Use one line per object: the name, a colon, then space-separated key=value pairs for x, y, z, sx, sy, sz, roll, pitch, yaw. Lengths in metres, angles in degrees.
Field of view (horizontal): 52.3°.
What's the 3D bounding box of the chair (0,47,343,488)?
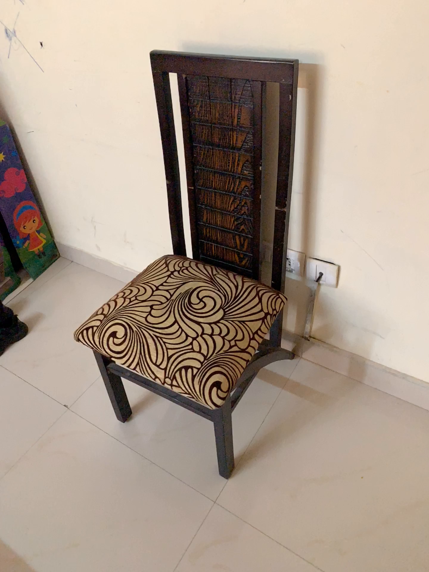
chair: x=-0.057 y=-0.048 z=1.182 sx=0.531 sy=0.922 sz=0.584 roll=18 pitch=46 yaw=25
